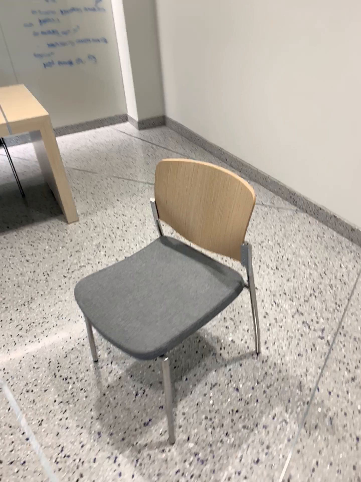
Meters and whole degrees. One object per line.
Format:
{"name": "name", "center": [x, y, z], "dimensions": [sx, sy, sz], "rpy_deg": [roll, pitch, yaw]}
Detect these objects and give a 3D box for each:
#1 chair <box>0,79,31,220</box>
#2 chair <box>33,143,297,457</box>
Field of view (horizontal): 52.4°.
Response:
{"name": "chair", "center": [-1.513, -0.680, 2.644], "dimensions": [0.538, 0.748, 0.595], "rpy_deg": [-20, 37, -21]}
{"name": "chair", "center": [-0.026, 0.167, 1.323], "dimensions": [0.593, 0.768, 0.540], "rpy_deg": [-30, 42, -32]}
